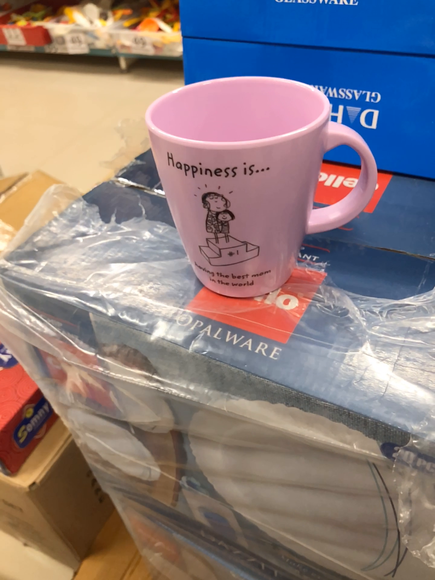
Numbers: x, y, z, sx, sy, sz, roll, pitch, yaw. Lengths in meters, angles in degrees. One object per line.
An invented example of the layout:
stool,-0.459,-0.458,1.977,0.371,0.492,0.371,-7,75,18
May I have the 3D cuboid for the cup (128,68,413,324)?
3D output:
cup,0.030,-0.050,0.250,0.110,0.089,0.091,4,43,11
